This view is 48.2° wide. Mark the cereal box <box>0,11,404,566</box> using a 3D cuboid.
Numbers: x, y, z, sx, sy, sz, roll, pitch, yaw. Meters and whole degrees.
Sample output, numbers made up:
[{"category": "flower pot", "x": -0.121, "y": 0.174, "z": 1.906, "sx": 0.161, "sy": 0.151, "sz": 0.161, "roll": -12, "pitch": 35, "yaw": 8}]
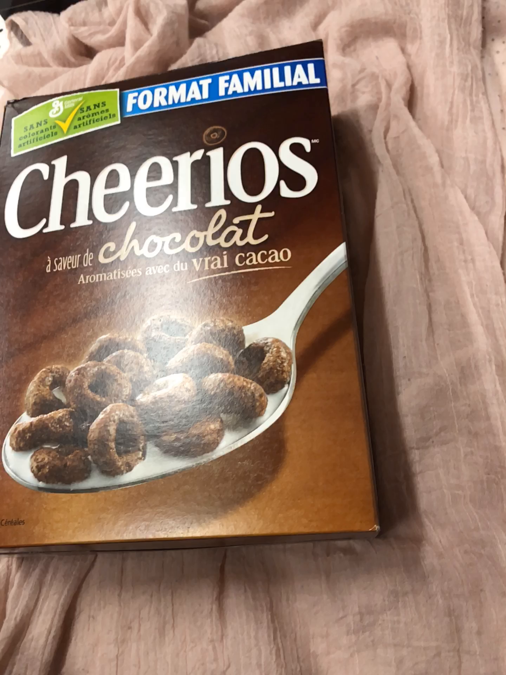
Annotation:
[{"category": "cereal box", "x": -0.043, "y": -0.034, "z": 0.368, "sx": 0.230, "sy": 0.090, "sz": 0.330, "roll": -6, "pitch": 66, "yaw": 10}]
